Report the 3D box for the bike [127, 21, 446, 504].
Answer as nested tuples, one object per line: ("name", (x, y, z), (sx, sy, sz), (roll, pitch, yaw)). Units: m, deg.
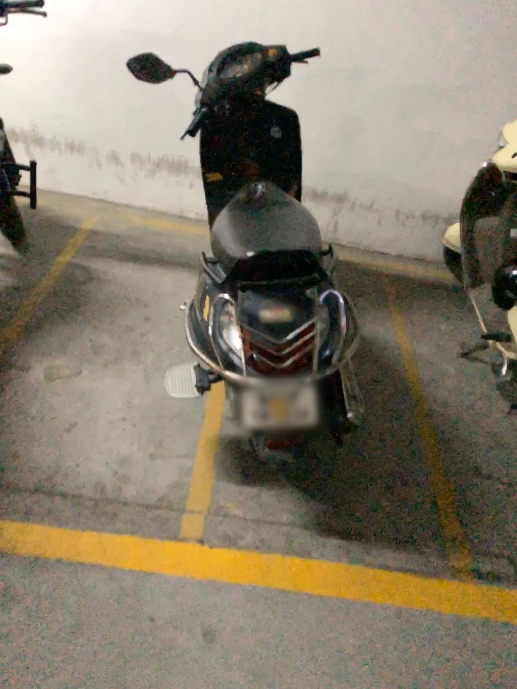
("bike", (-0.114, -0.399, 2.032), (0.652, 1.239, 1.539), (3, 38, -12))
